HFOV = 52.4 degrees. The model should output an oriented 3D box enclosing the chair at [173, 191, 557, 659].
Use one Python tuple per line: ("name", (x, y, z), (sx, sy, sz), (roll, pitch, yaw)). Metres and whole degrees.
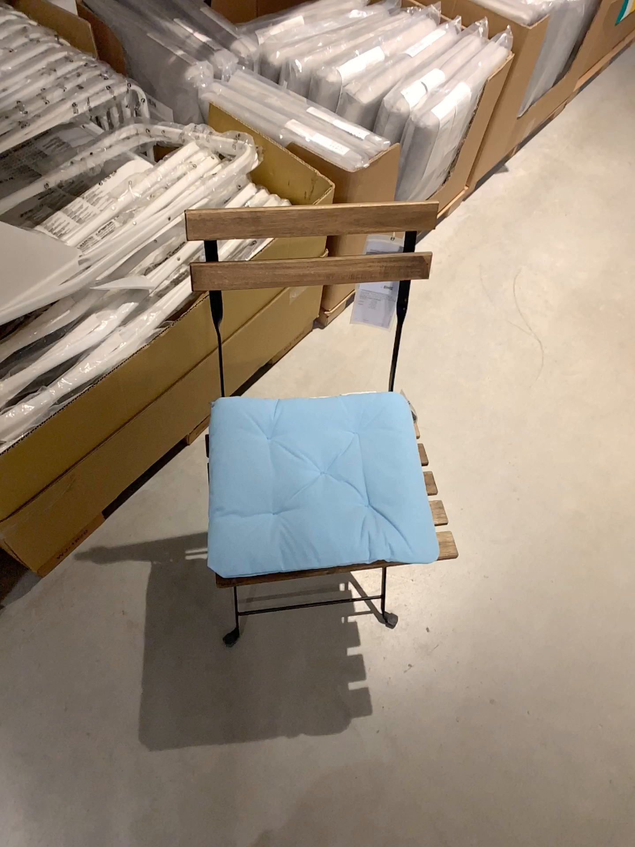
("chair", (-0.003, 0.061, 1.118), (0.400, 0.738, 0.461), (-5, 59, -10))
